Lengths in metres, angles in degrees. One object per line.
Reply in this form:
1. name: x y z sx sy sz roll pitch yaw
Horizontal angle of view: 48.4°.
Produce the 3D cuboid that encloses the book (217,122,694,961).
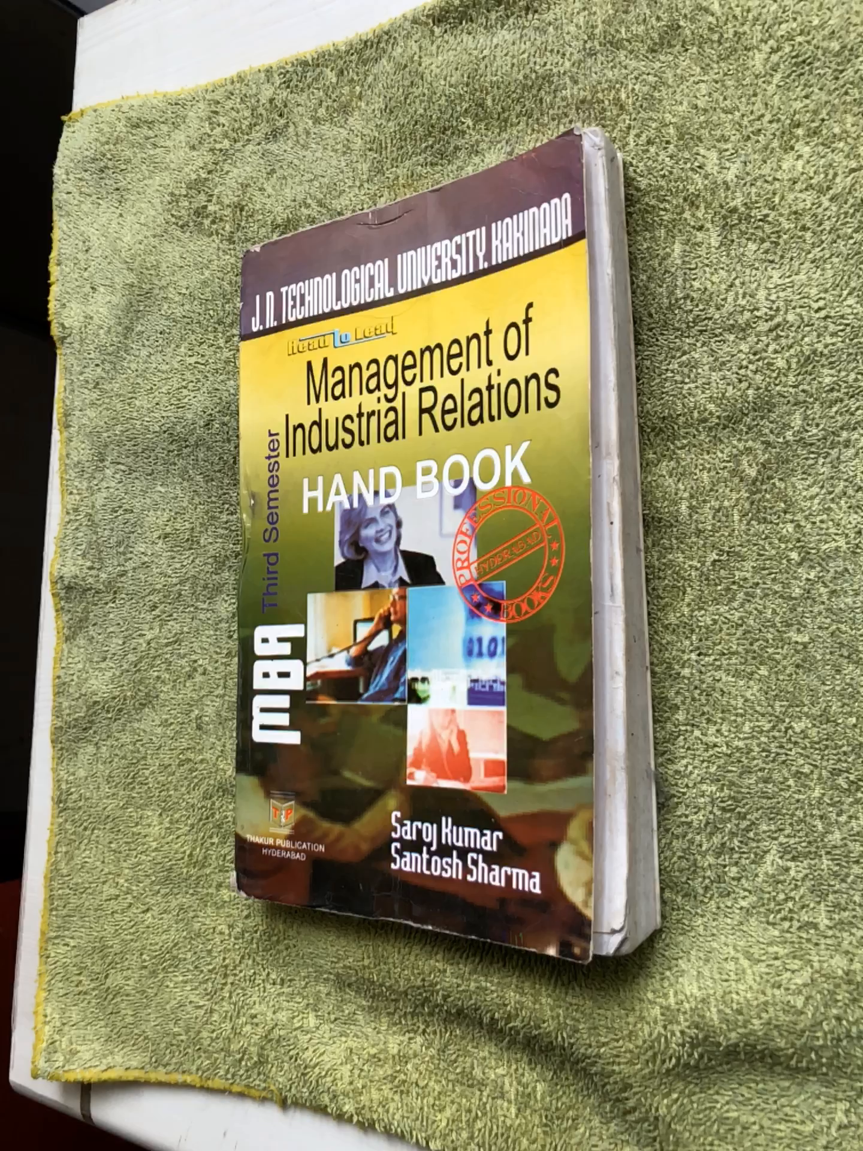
1. book: 0.004 -0.008 0.307 0.140 0.050 0.220 -4 83 31
